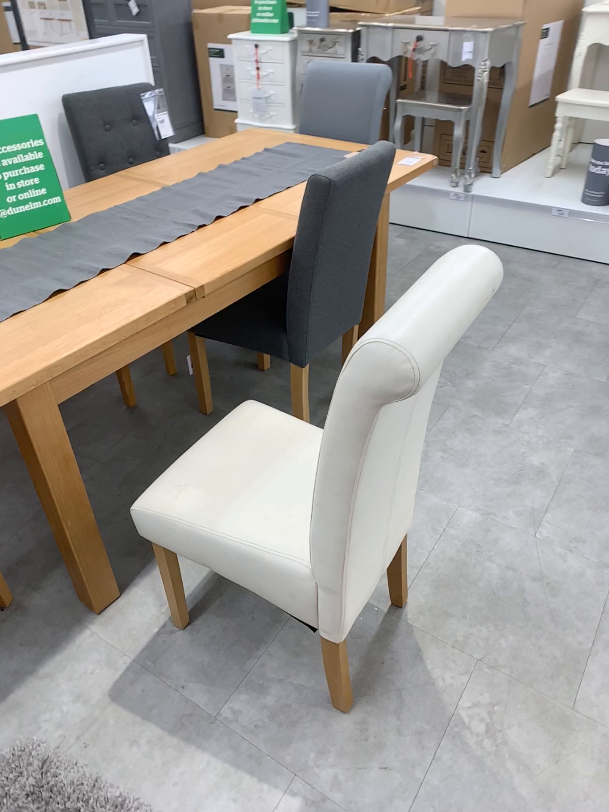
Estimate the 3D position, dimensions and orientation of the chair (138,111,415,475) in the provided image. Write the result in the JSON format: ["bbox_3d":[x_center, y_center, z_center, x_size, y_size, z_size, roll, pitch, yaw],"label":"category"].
[{"bbox_3d":[-0.055,-0.365,1.957,0.583,0.905,0.486,21,42,28],"label":"chair"}]

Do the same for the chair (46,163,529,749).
[{"bbox_3d":[0.009,0.090,1.266,0.593,0.935,0.517,18,41,26],"label":"chair"}]
